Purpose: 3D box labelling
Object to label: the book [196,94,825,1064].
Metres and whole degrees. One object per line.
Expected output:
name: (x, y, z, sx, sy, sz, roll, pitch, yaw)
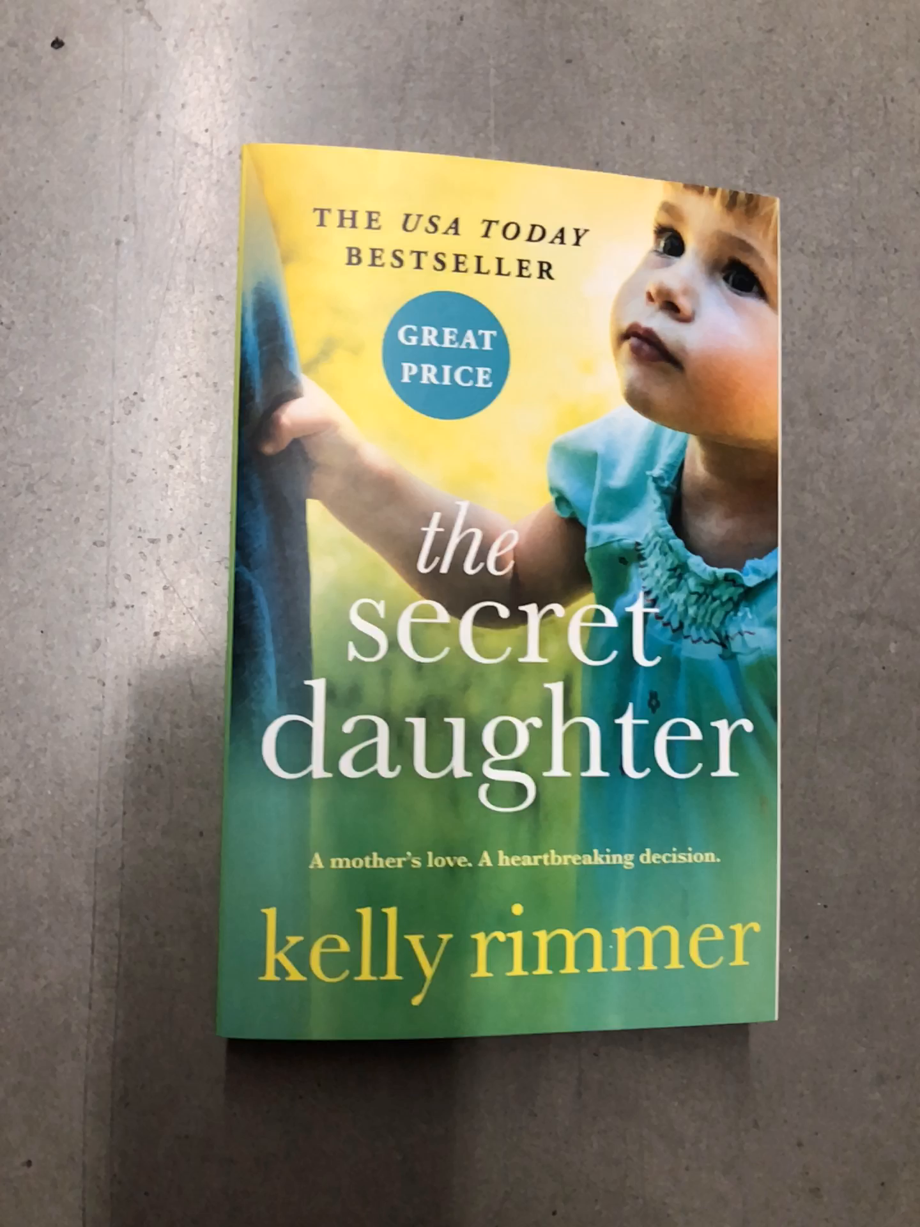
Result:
book: (0.014, -0.007, 0.246, 0.140, 0.030, 0.210, 2, 88, -9)
